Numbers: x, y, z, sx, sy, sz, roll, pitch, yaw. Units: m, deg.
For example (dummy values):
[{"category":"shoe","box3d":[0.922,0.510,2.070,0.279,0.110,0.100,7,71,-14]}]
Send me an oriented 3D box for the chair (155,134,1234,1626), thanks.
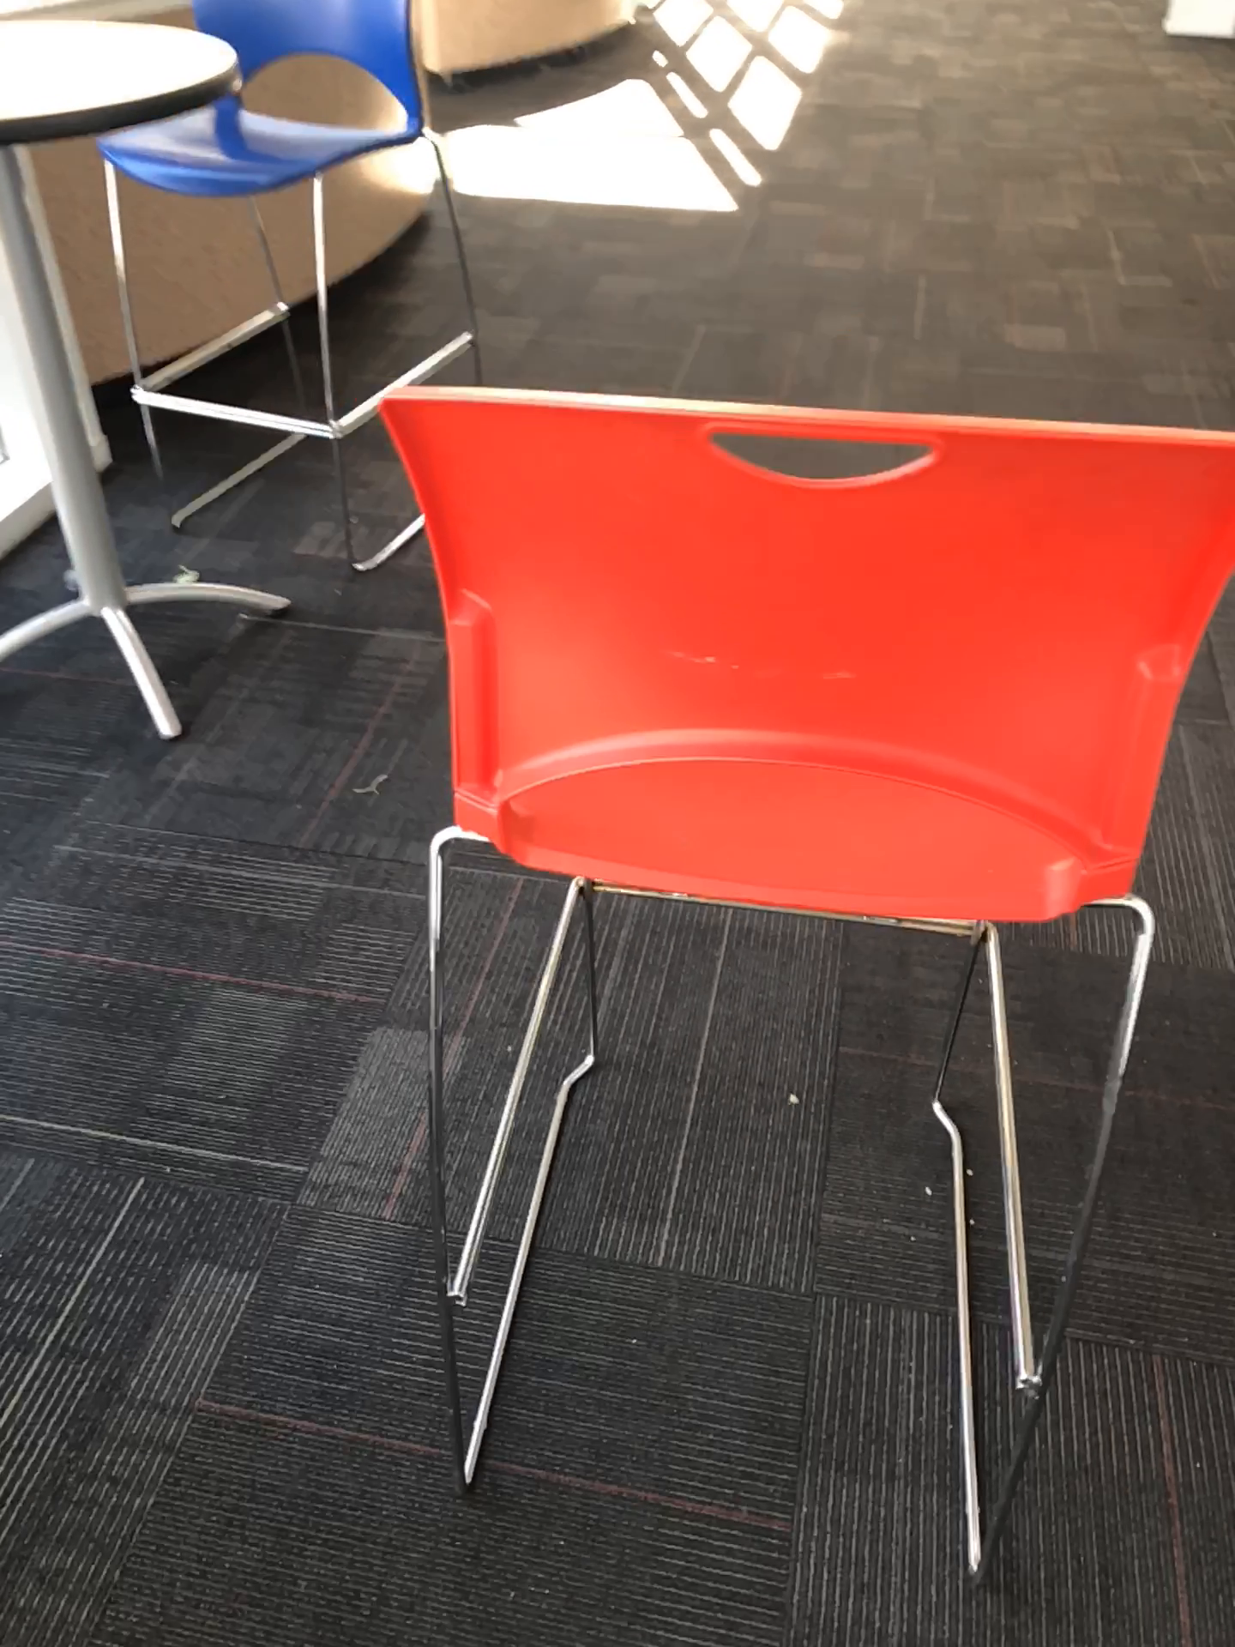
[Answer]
[{"category":"chair","box3d":[0.134,0.056,1.124,0.590,0.995,0.663,4,38,6]}]
